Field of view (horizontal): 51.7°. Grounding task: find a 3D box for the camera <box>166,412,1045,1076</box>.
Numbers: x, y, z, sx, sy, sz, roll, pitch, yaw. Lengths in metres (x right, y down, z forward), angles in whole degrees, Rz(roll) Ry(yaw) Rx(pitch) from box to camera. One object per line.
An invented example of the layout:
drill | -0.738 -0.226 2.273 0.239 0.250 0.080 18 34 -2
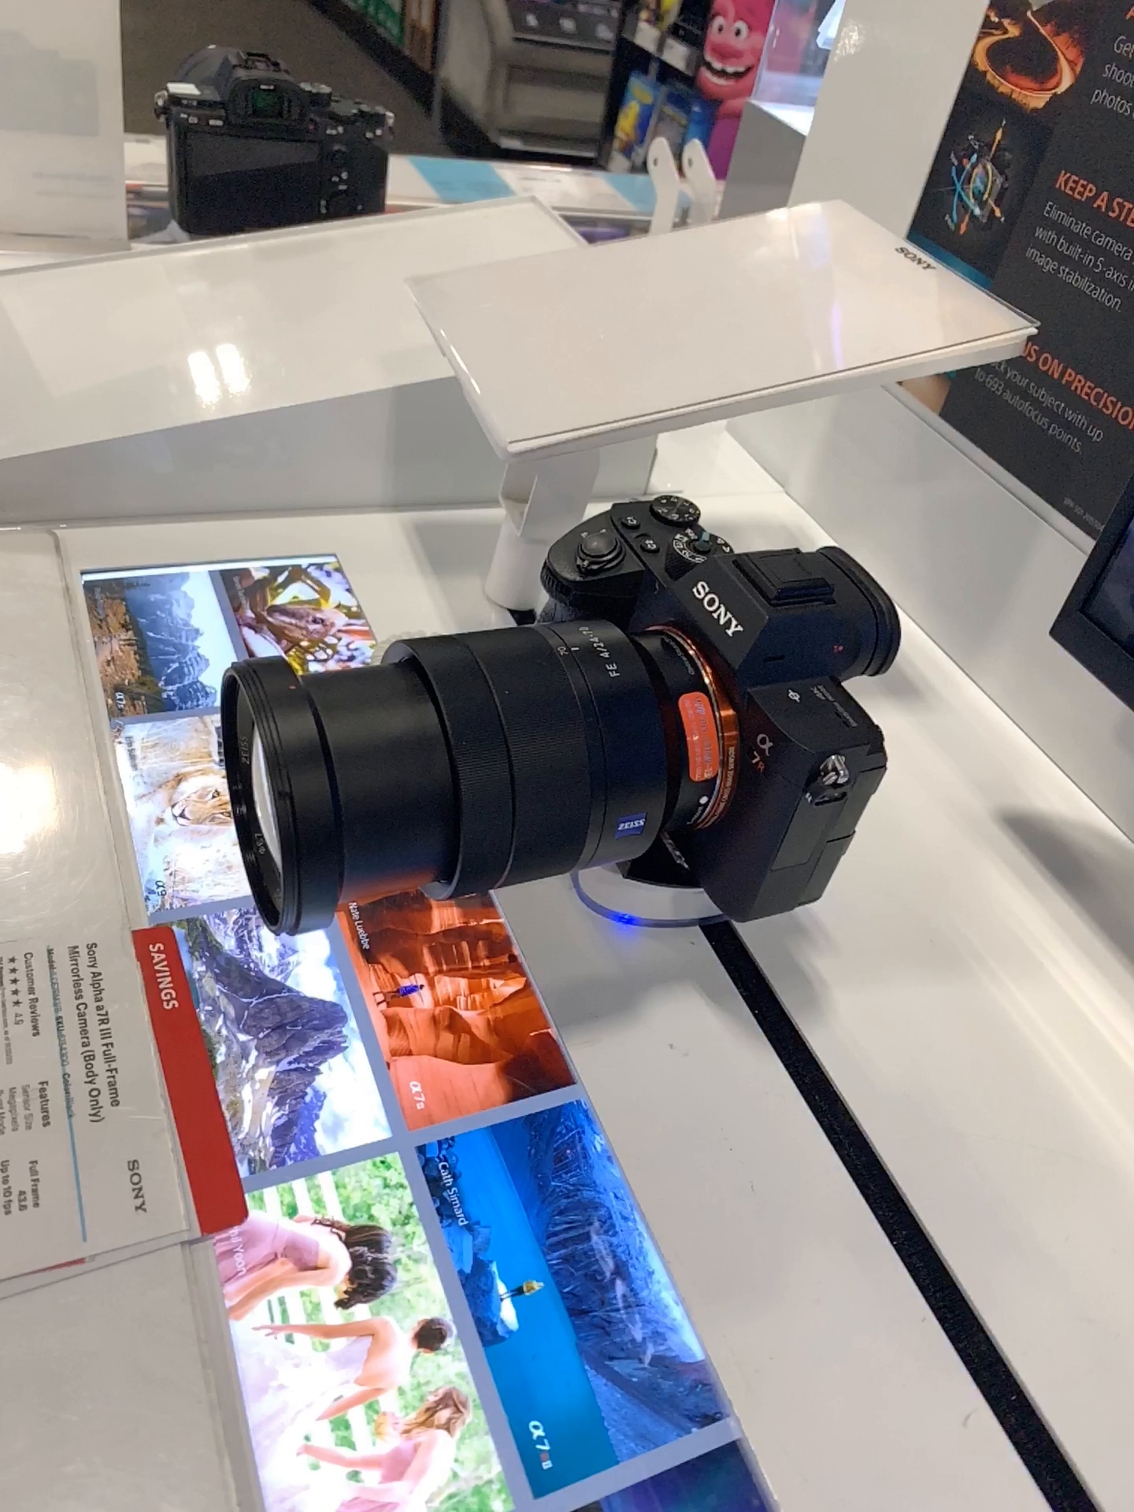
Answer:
camera | 0.002 -0.018 0.334 0.193 0.099 0.131 -11 45 -26
